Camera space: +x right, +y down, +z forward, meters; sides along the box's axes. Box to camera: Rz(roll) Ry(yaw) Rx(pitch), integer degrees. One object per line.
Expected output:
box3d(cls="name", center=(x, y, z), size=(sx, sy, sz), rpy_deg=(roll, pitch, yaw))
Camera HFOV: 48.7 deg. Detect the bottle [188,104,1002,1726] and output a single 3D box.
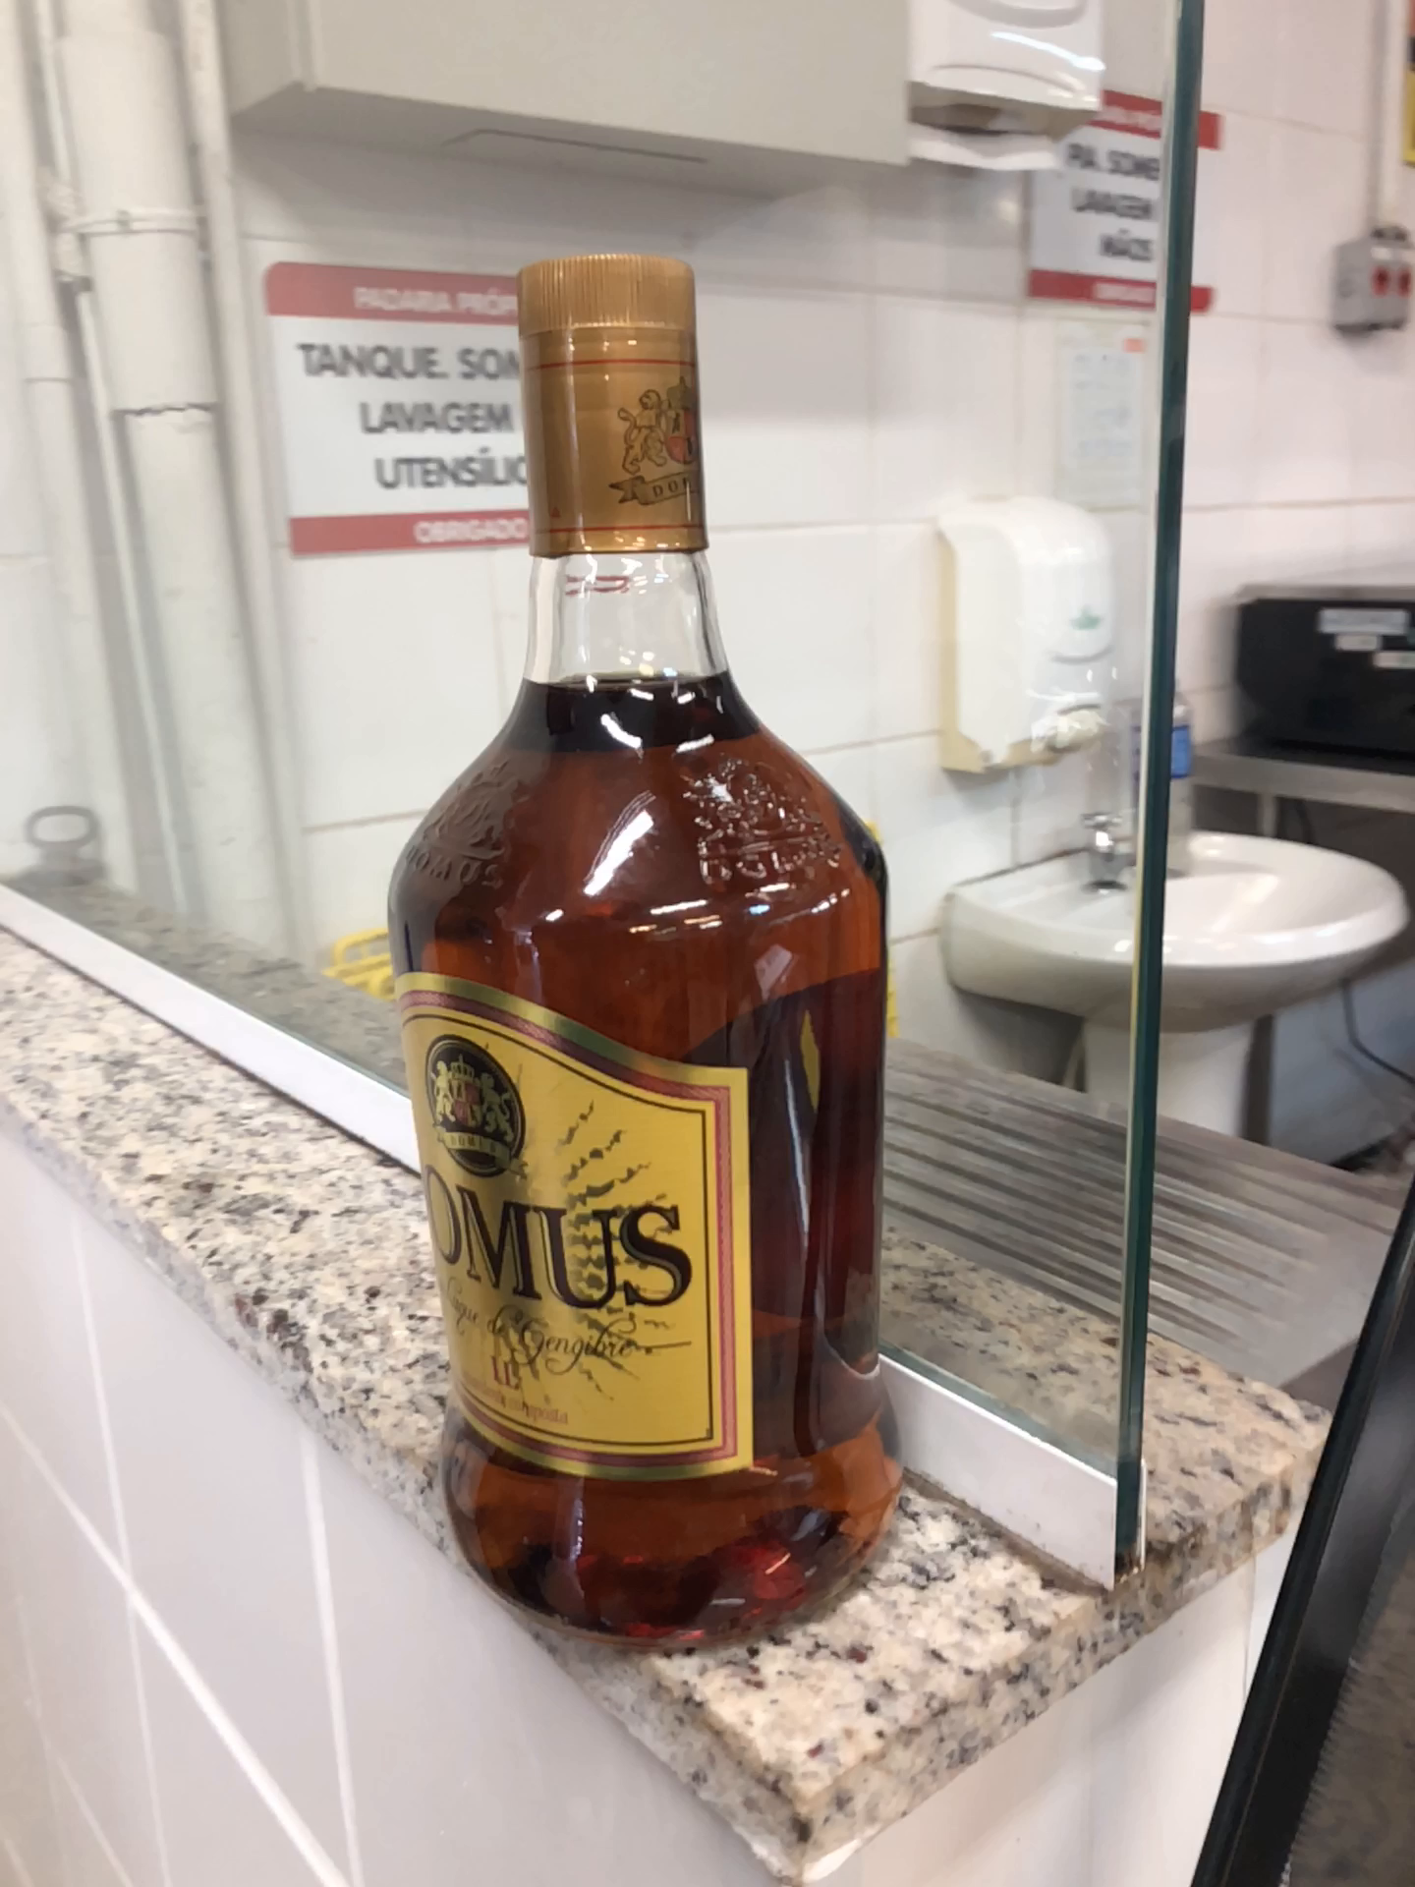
box3d(cls="bottle", center=(-0.011, -0.007, 0.315), size=(0.100, 0.259, 0.110), rpy_deg=(7, 17, 36))
